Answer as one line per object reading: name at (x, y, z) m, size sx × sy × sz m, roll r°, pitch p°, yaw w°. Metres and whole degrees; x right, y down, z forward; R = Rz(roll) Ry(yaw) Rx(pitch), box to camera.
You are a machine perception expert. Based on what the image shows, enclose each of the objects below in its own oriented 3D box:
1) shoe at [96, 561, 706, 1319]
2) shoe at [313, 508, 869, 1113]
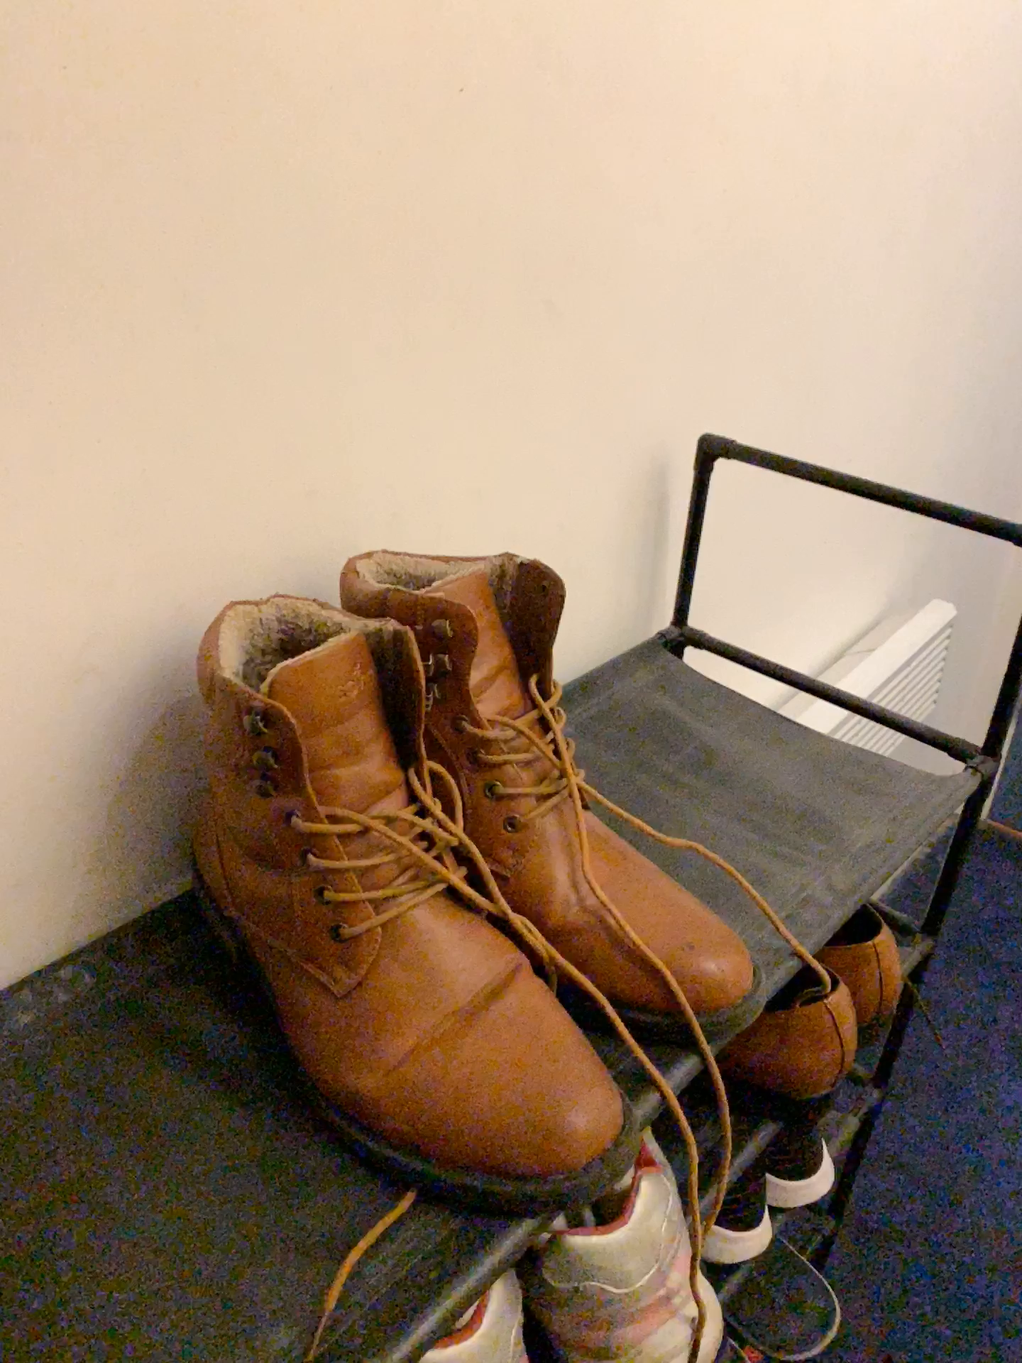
shoe at (-0.064, 0.092, 0.480) m, size 0.111 × 0.198 × 0.271 m, roll -22°, pitch 37°, yaw -37°
shoe at (0.026, 0.049, 0.535) m, size 0.241 × 0.198 × 0.111 m, roll 24°, pitch 35°, yaw 34°
